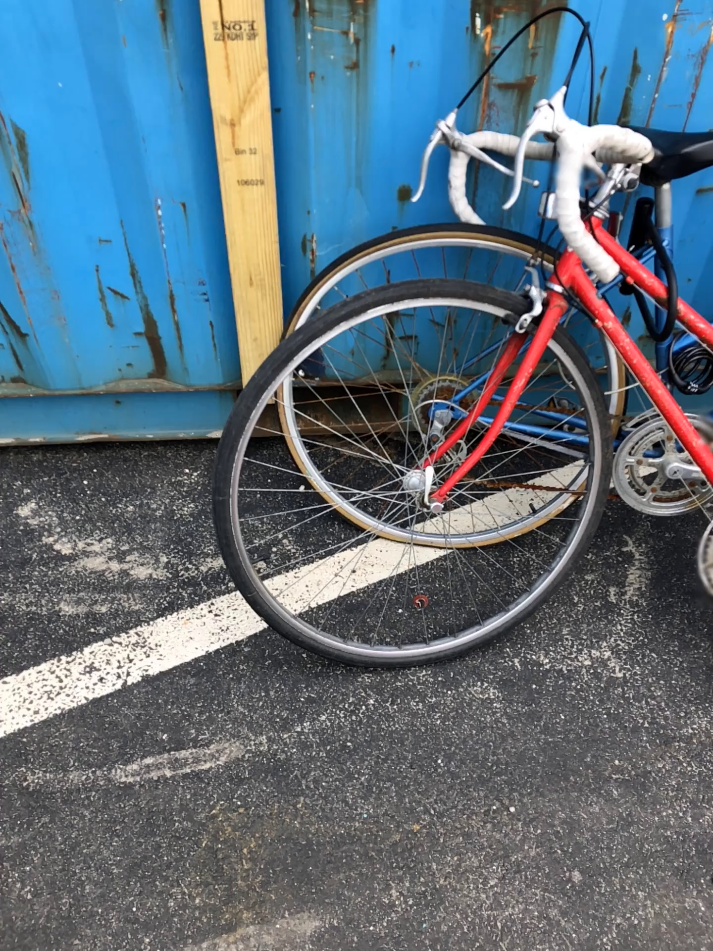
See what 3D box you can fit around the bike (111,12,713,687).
[{"bbox_3d":[0.632,-0.138,1.246,1.639,0.824,0.486,3,45,-1],"label":"bike"}]
